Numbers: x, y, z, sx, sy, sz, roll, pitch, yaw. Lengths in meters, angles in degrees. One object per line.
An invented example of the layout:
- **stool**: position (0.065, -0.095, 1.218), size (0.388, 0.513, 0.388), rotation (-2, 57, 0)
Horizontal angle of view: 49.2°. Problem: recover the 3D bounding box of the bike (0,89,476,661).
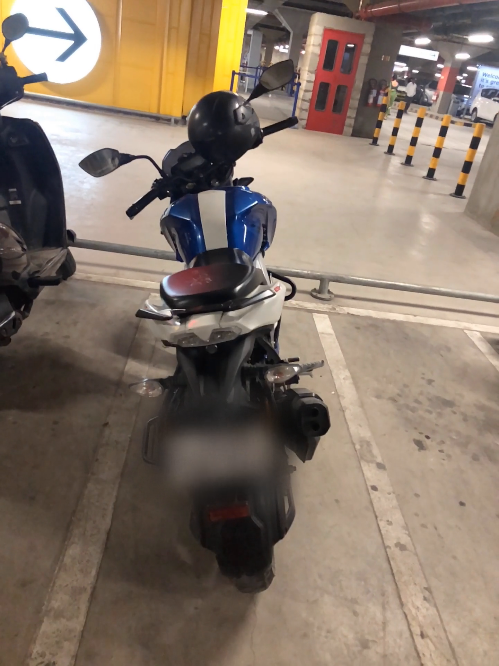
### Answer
- **bike**: position (-0.258, -0.145, 1.981), size (0.806, 1.163, 1.995), rotation (4, 26, -11)
